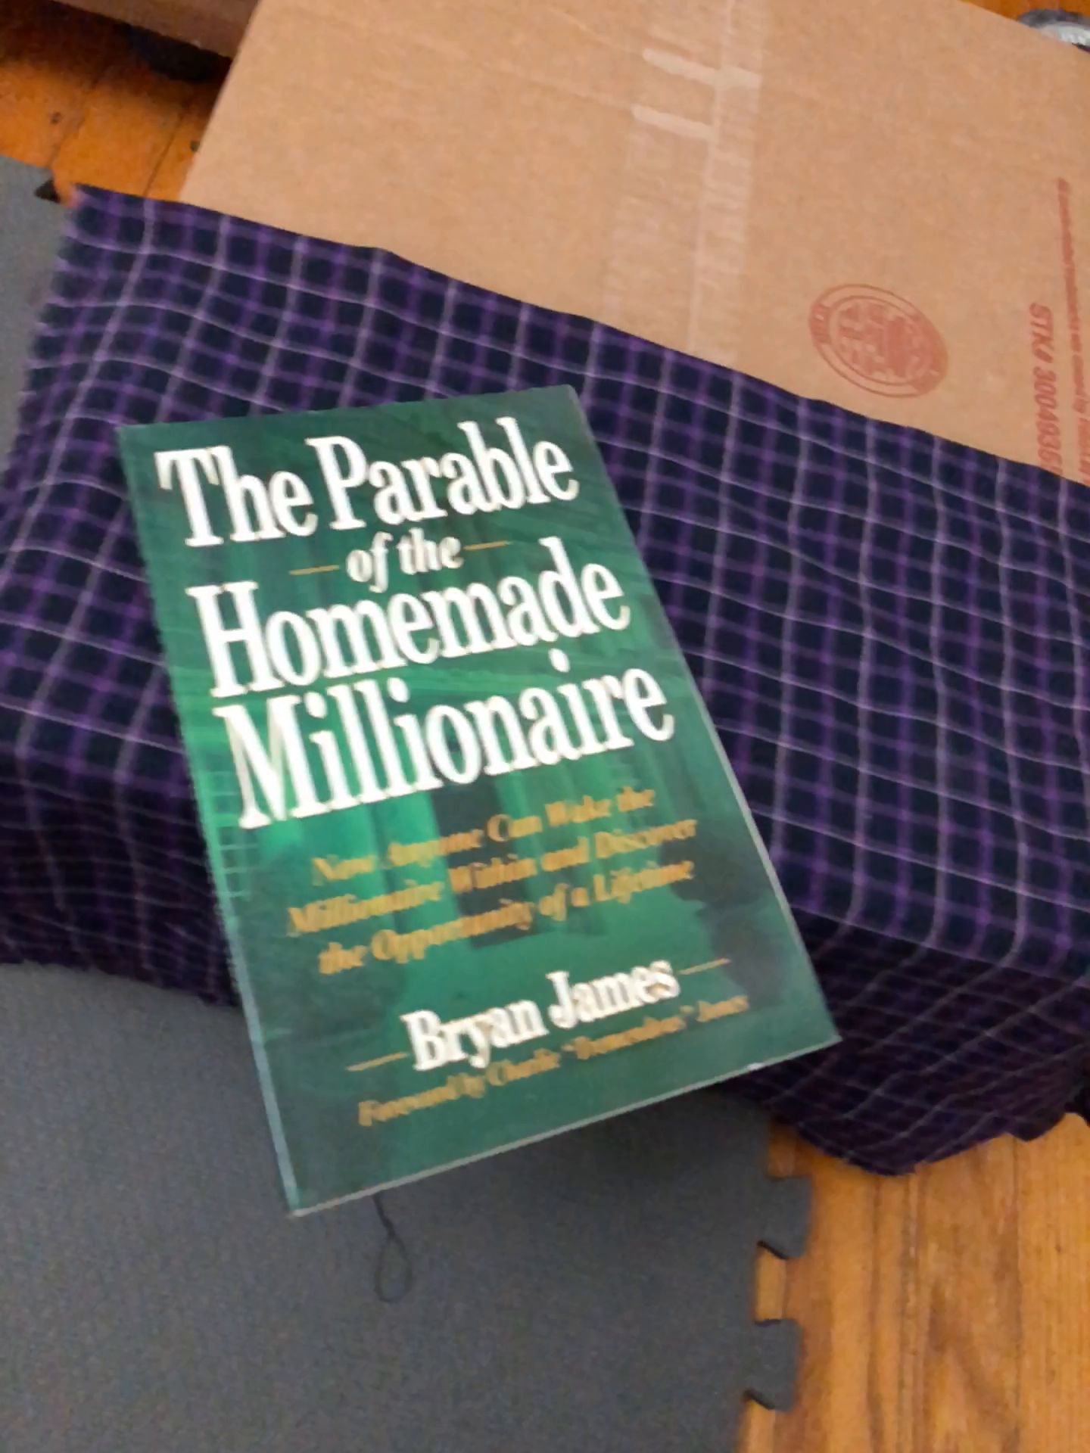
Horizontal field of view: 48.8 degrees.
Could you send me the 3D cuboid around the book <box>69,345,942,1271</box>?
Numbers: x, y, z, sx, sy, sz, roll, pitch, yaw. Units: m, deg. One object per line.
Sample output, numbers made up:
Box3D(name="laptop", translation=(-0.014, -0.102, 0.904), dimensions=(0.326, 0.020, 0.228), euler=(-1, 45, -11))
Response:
Box3D(name="book", translation=(-0.016, -0.001, 0.302), dimensions=(0.160, 0.020, 0.210), euler=(-12, 68, -19))
